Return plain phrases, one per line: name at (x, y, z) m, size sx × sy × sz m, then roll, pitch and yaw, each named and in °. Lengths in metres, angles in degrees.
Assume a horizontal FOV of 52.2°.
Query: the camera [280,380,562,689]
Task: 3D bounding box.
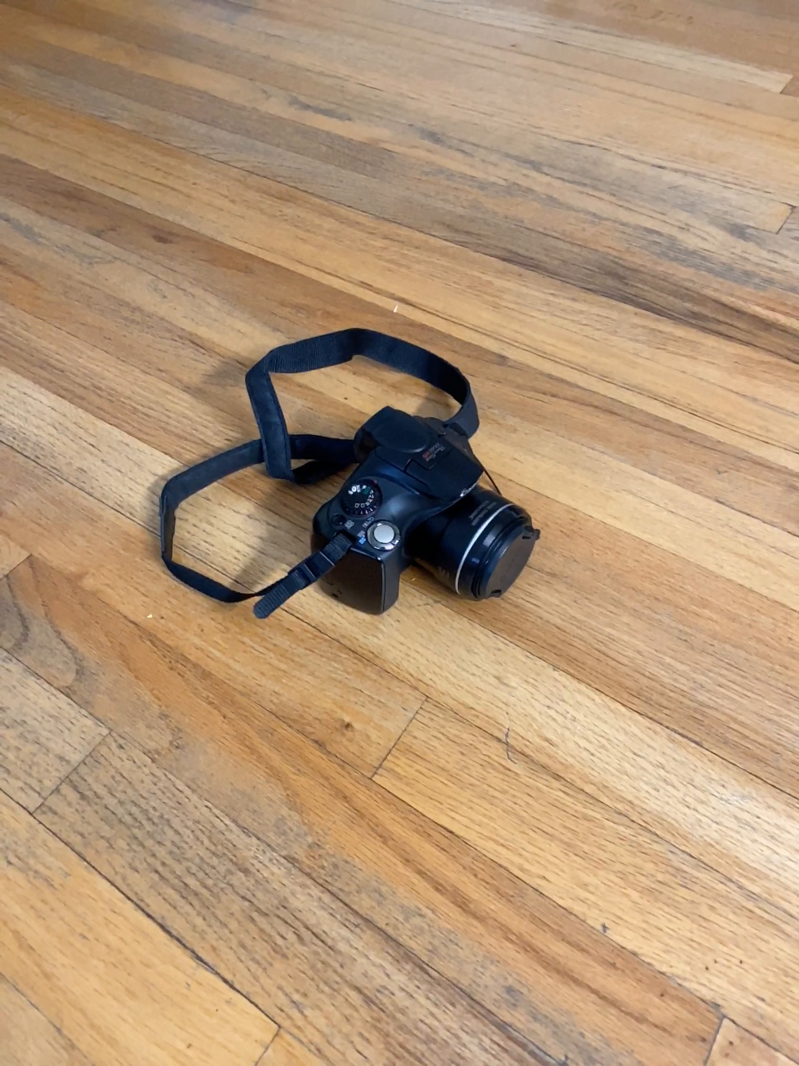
camera at (0.014, -0.001, 0.510) m, size 0.120 × 0.109 × 0.110 m, roll 30°, pitch 58°, yaw 23°
